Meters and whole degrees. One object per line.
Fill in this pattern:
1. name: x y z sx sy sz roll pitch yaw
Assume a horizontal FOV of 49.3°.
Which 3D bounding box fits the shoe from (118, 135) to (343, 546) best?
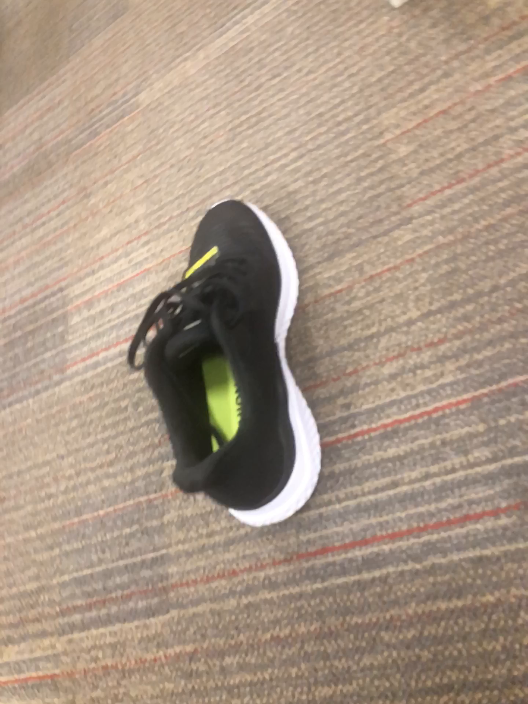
1. shoe: -0.036 -0.009 0.460 0.121 0.100 0.290 -20 61 25
